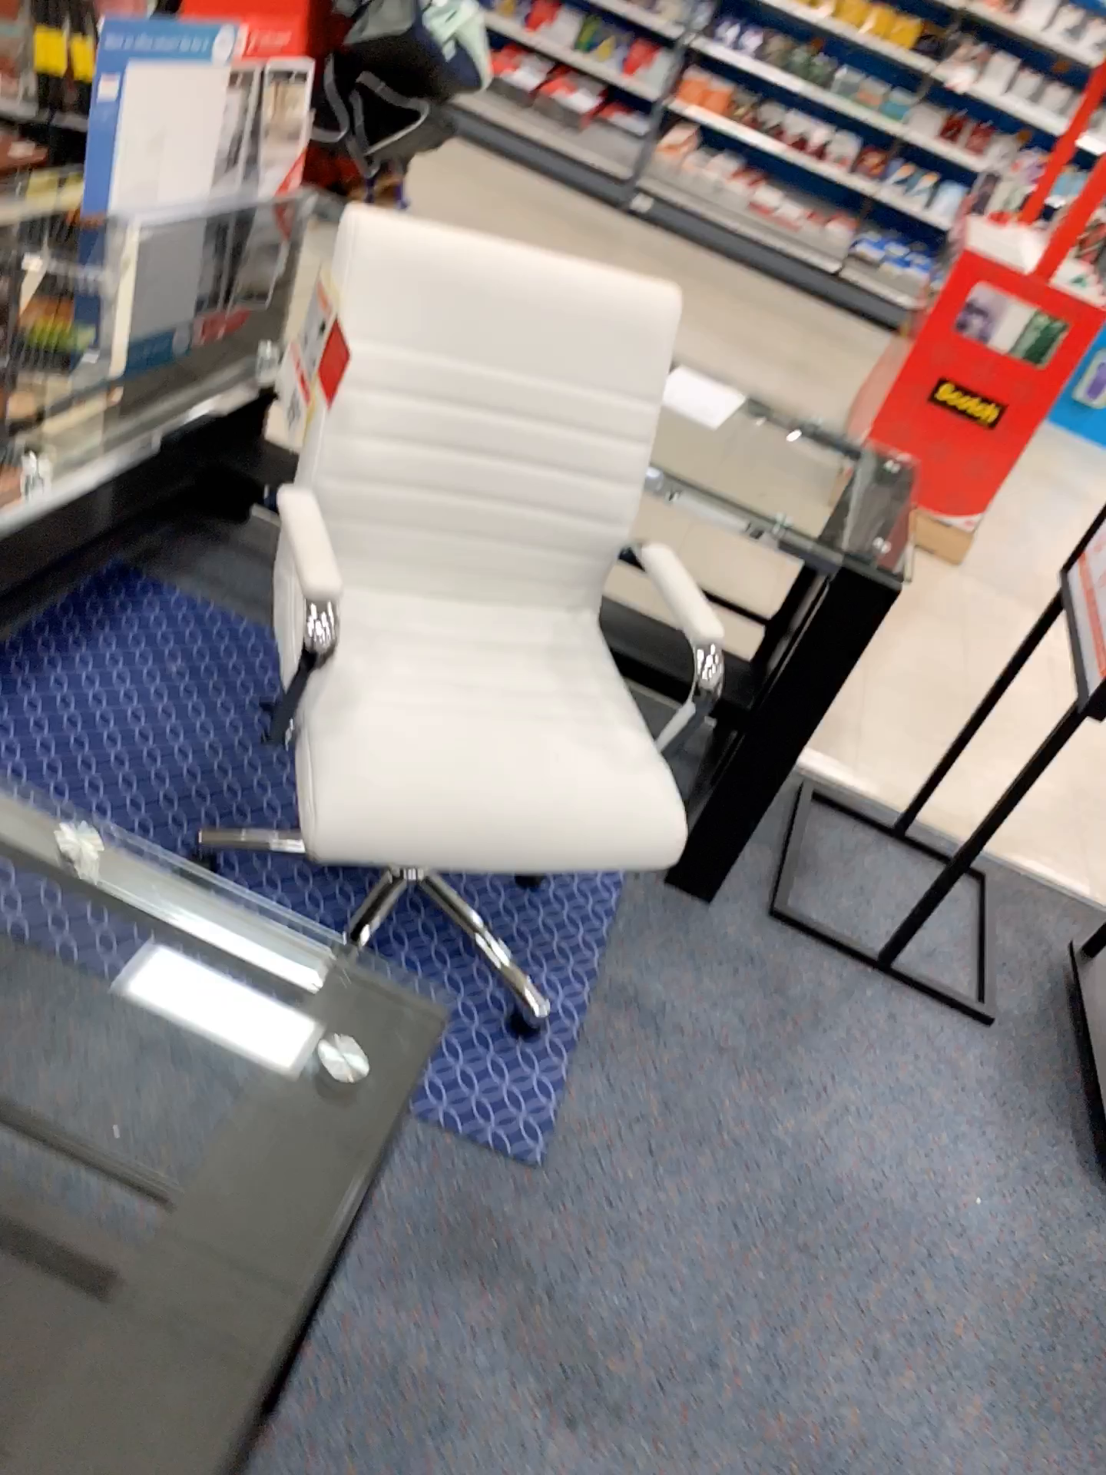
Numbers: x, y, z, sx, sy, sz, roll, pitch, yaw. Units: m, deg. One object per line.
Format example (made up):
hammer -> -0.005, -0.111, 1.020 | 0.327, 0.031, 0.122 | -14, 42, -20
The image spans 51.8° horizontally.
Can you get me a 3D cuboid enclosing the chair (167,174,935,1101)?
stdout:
chair -> -0.129, -0.089, 1.570 | 0.615, 0.963, 0.663 | 3, 41, -26
